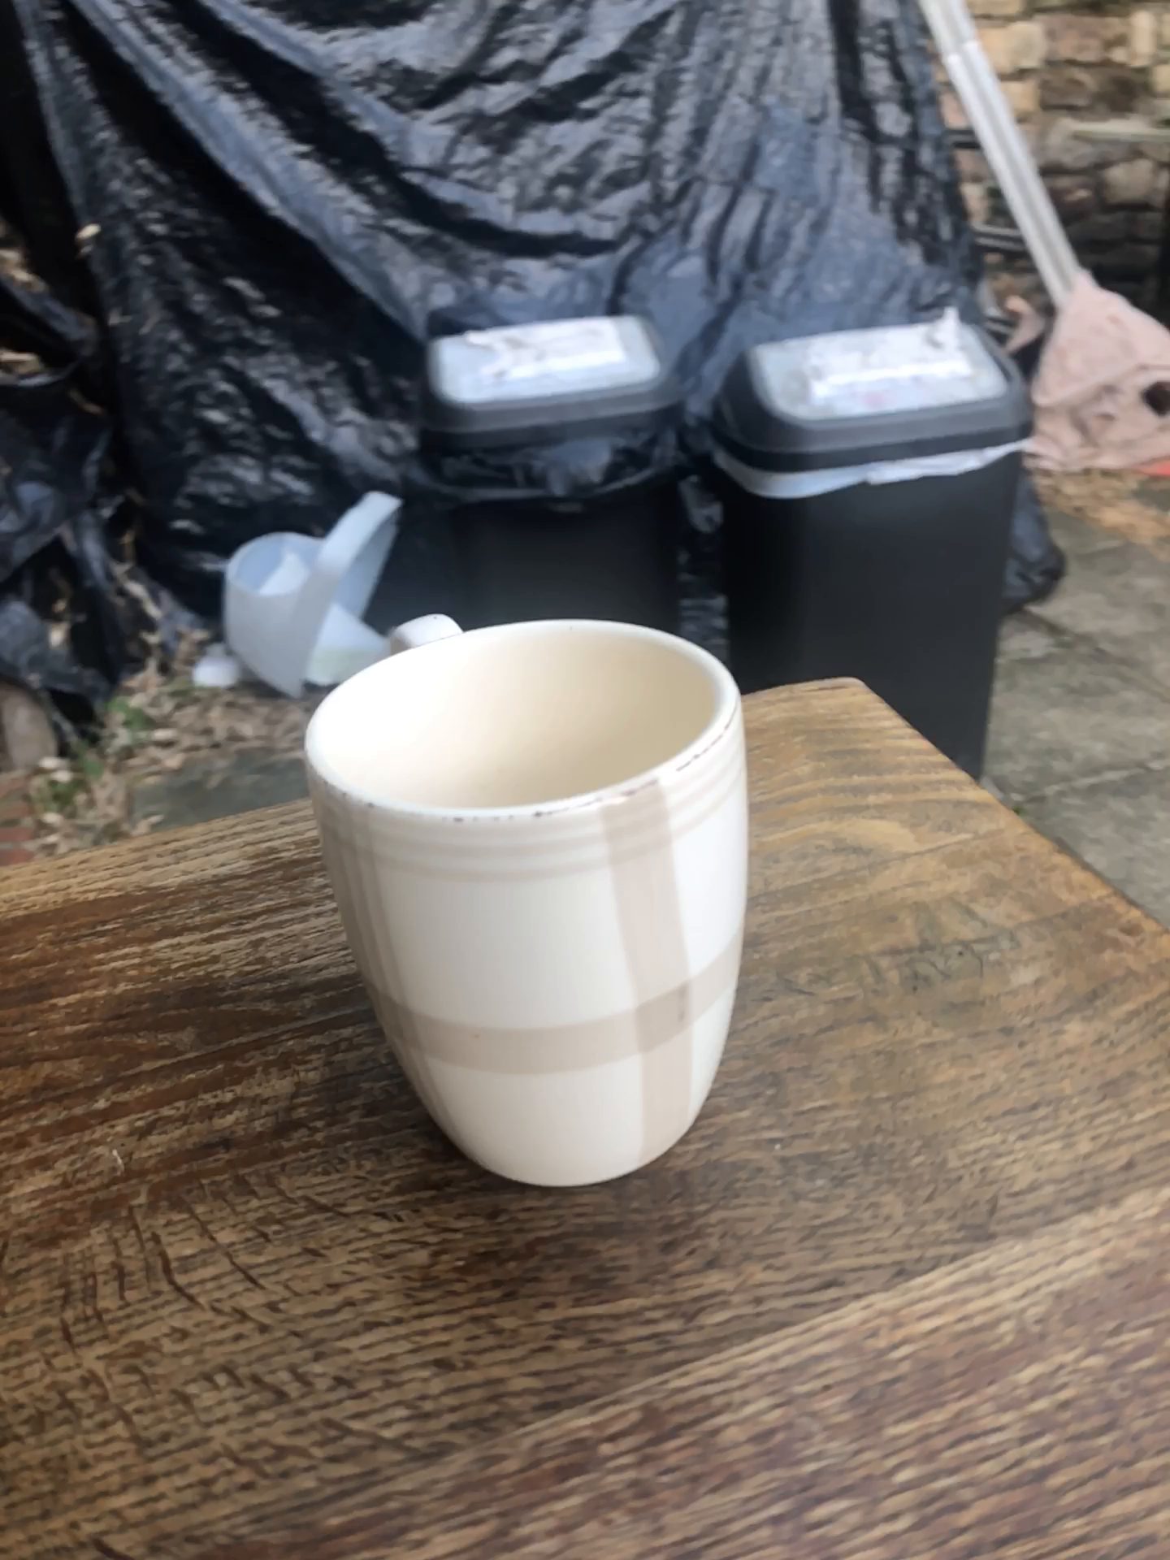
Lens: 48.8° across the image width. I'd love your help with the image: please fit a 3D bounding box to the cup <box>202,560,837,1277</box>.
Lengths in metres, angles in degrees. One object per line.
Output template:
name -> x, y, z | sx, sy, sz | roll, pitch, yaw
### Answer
cup -> -0.018, 0.018, 0.280 | 0.088, 0.078, 0.125 | -18, 32, -19
